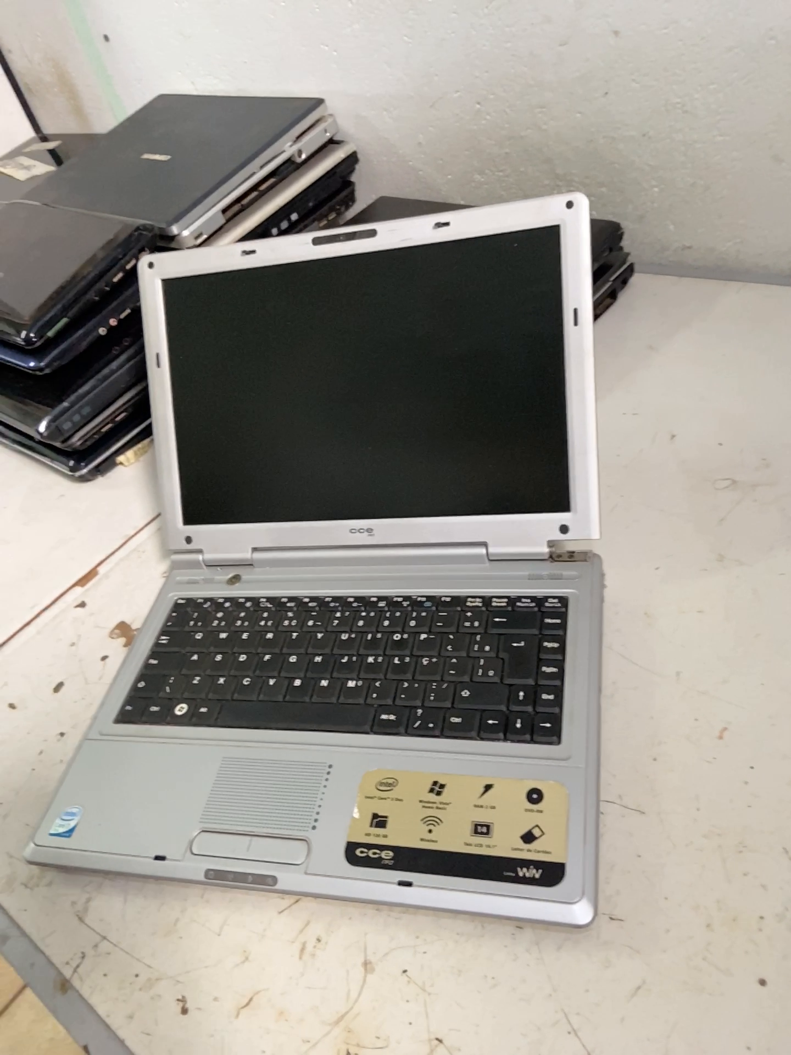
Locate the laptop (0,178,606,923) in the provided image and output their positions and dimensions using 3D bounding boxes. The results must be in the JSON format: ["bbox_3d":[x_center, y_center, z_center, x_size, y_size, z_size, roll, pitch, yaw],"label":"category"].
[{"bbox_3d":[-0.050,-0.011,0.510,0.338,0.190,0.389,-2,45,18],"label":"laptop"}]
